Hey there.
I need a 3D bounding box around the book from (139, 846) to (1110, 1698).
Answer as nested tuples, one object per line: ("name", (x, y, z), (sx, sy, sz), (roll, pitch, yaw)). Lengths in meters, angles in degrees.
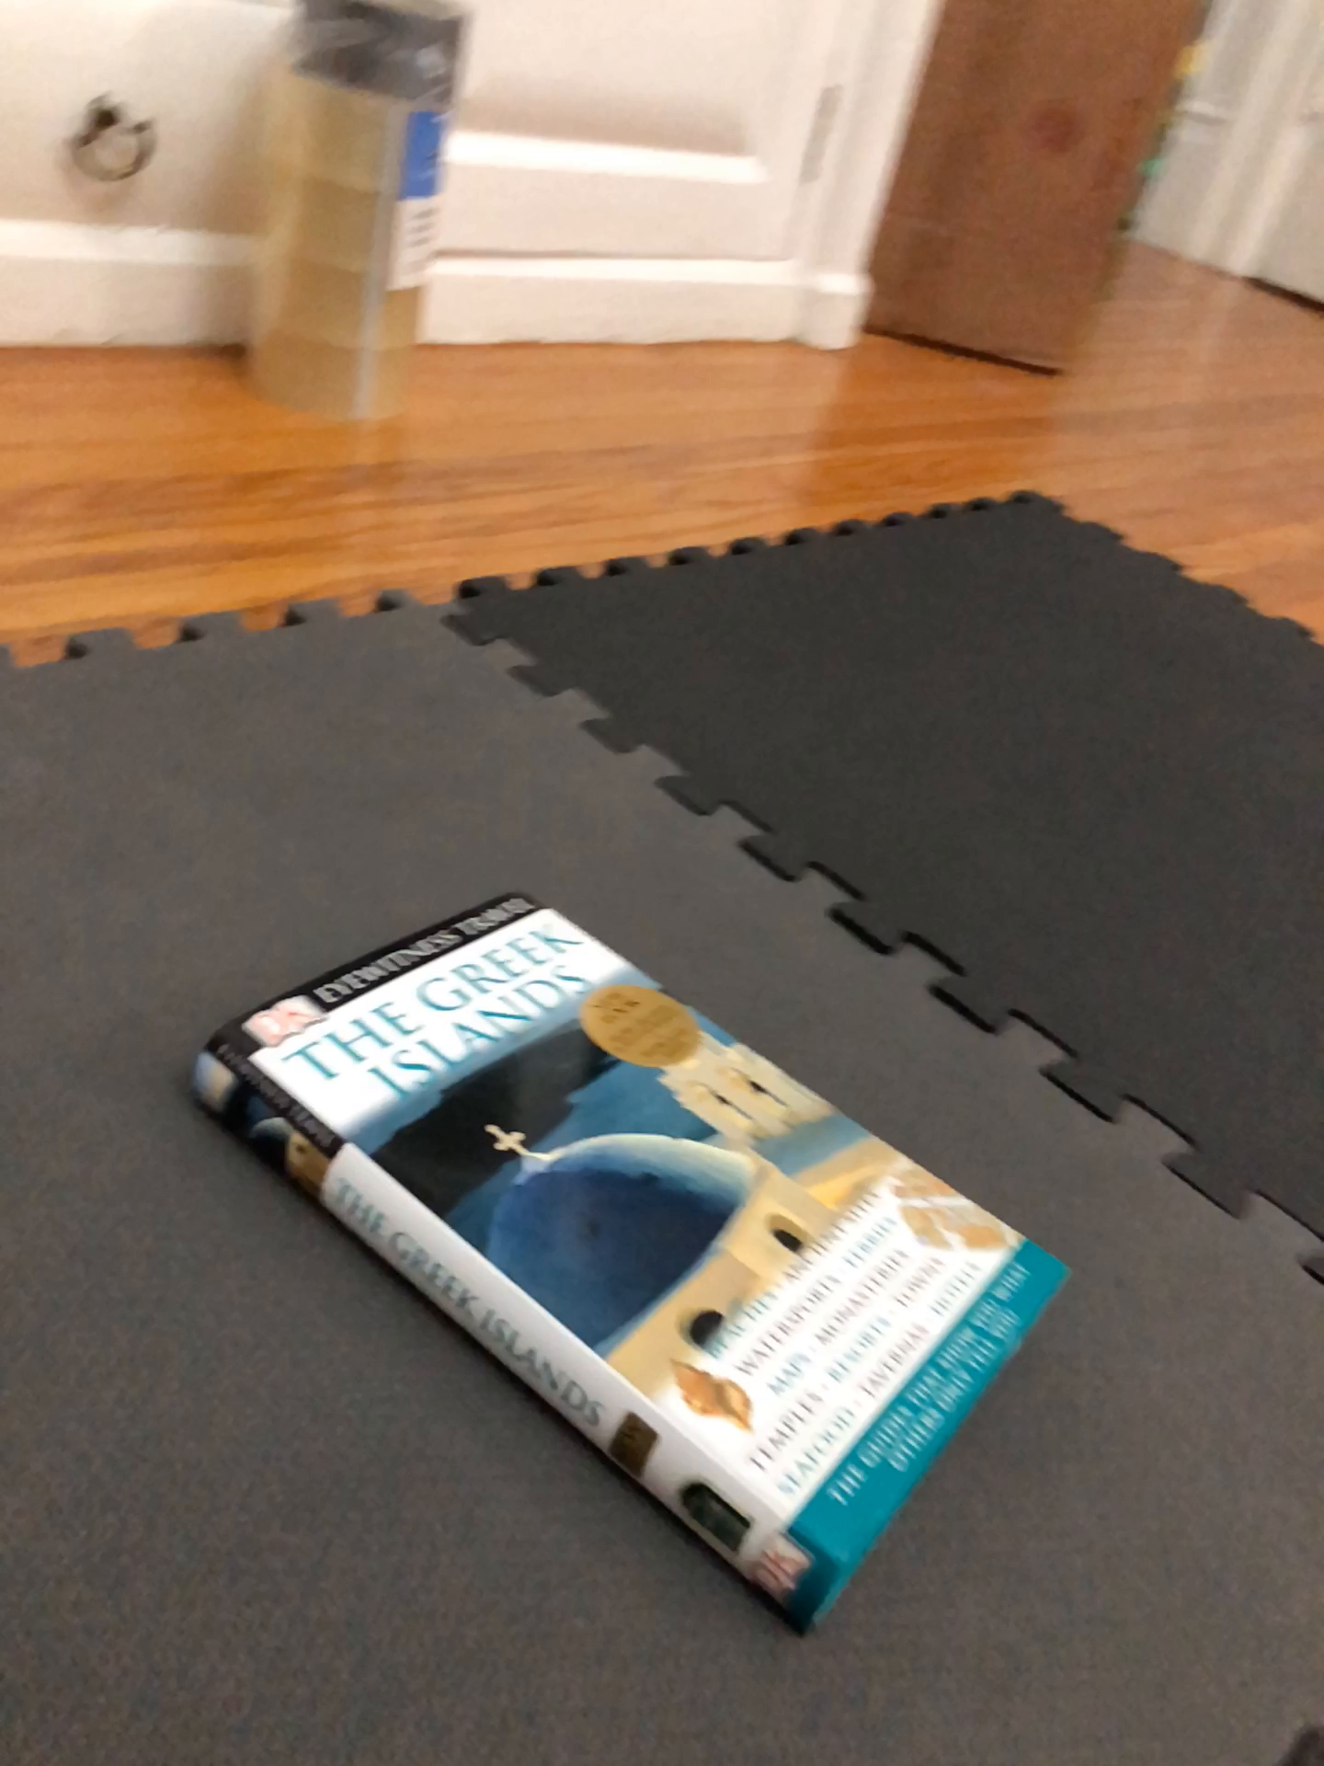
("book", (-0.011, 0.086, 0.432), (0.240, 0.030, 0.161), (34, 38, 24))
